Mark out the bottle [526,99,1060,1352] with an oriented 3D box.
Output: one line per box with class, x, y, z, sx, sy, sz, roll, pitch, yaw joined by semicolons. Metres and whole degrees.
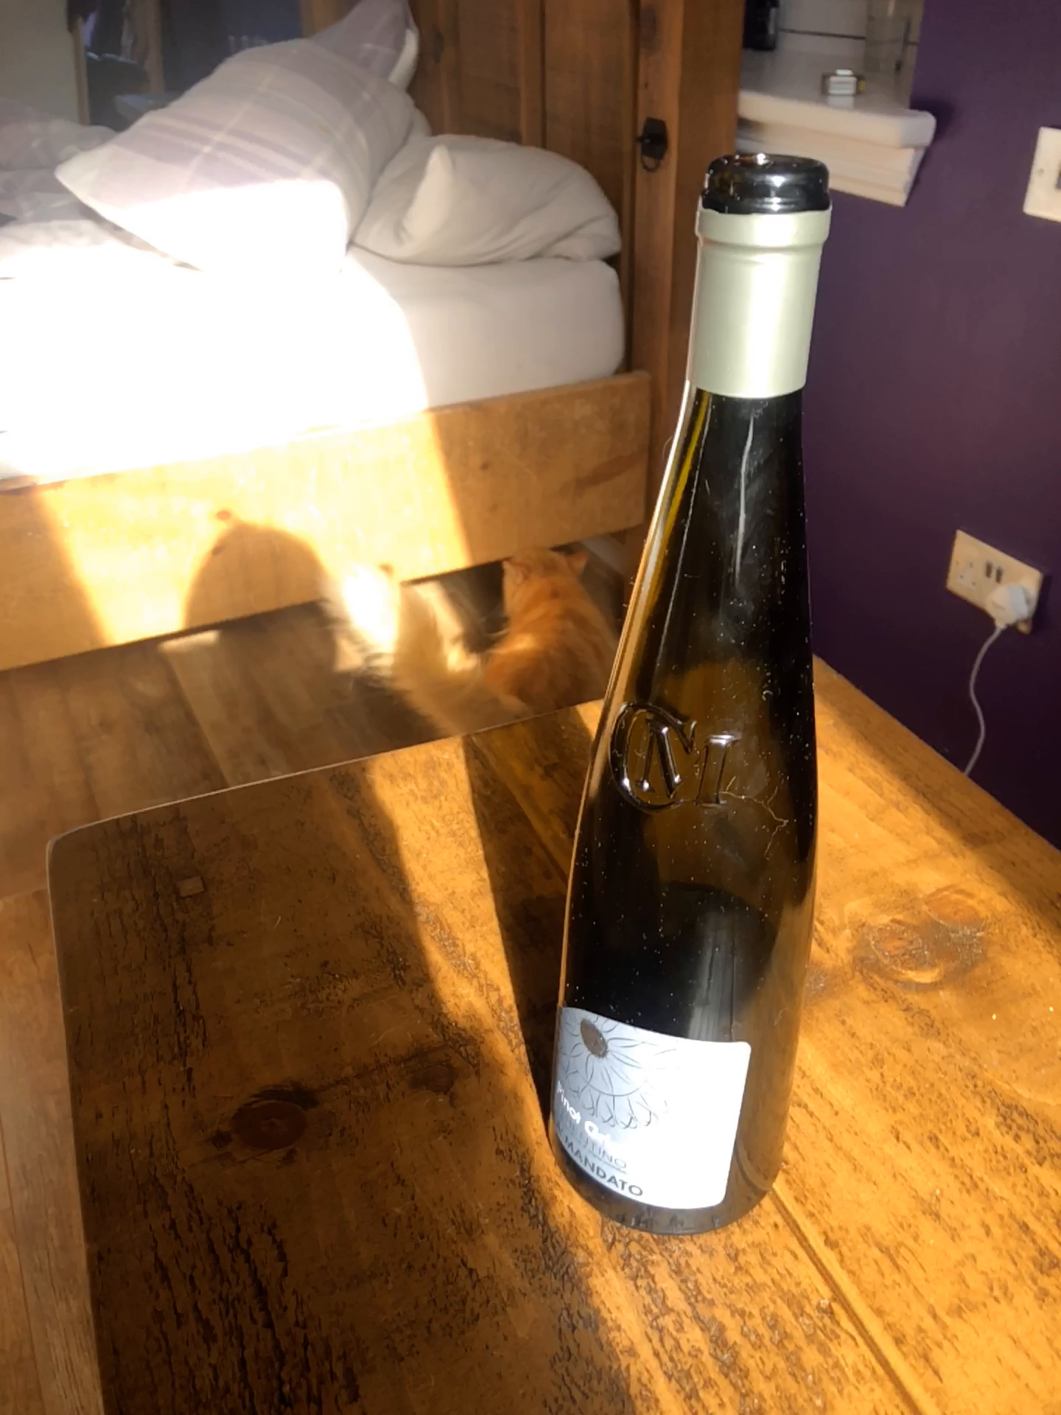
bottle;0.070;0.021;0.338;0.100;0.337;0.101;0;32;0
